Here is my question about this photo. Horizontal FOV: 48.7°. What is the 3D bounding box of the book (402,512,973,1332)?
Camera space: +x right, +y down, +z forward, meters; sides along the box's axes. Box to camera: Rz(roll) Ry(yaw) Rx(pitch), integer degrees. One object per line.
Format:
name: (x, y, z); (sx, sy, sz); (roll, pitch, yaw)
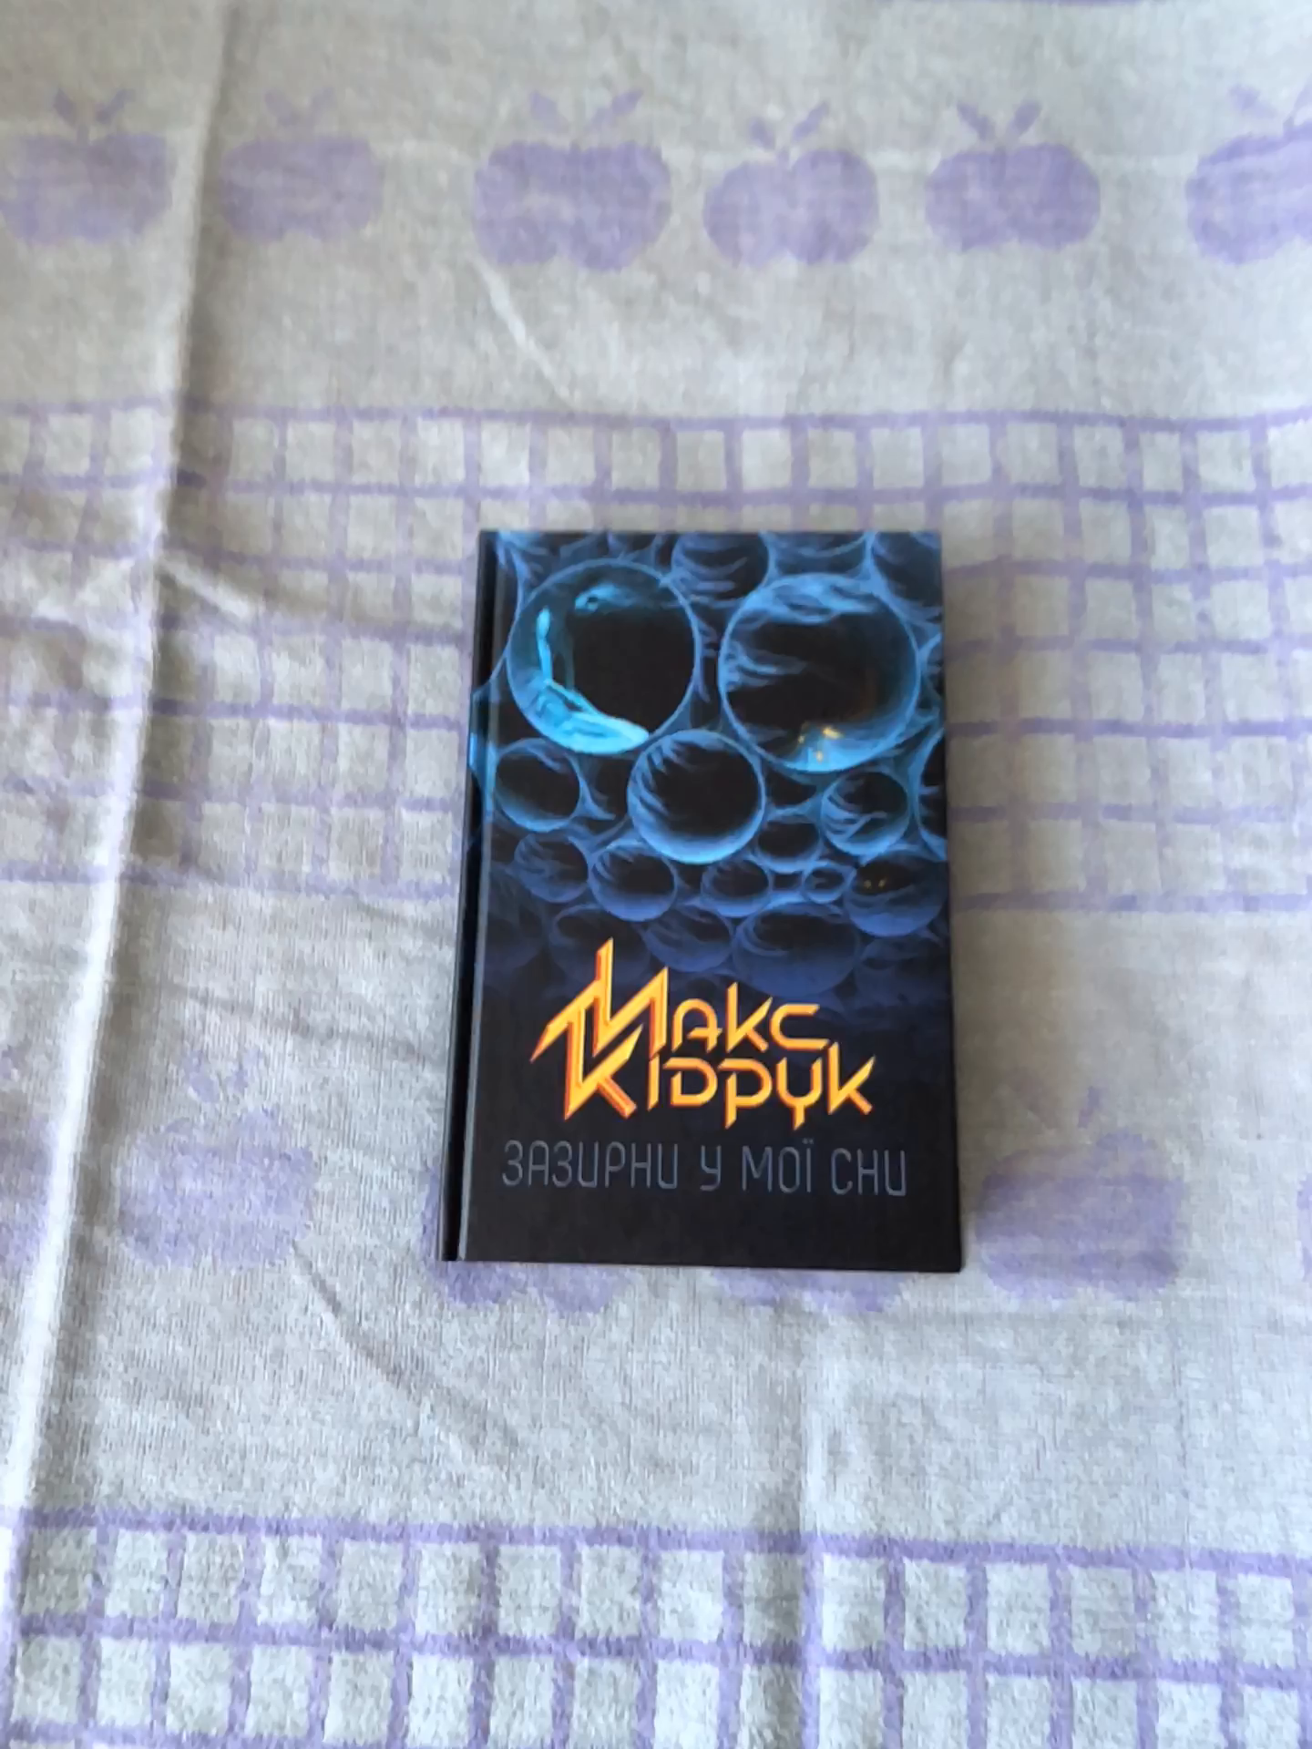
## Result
book: (0.011, 0.008, 0.402); (0.140, 0.036, 0.221); (1, 75, 3)
